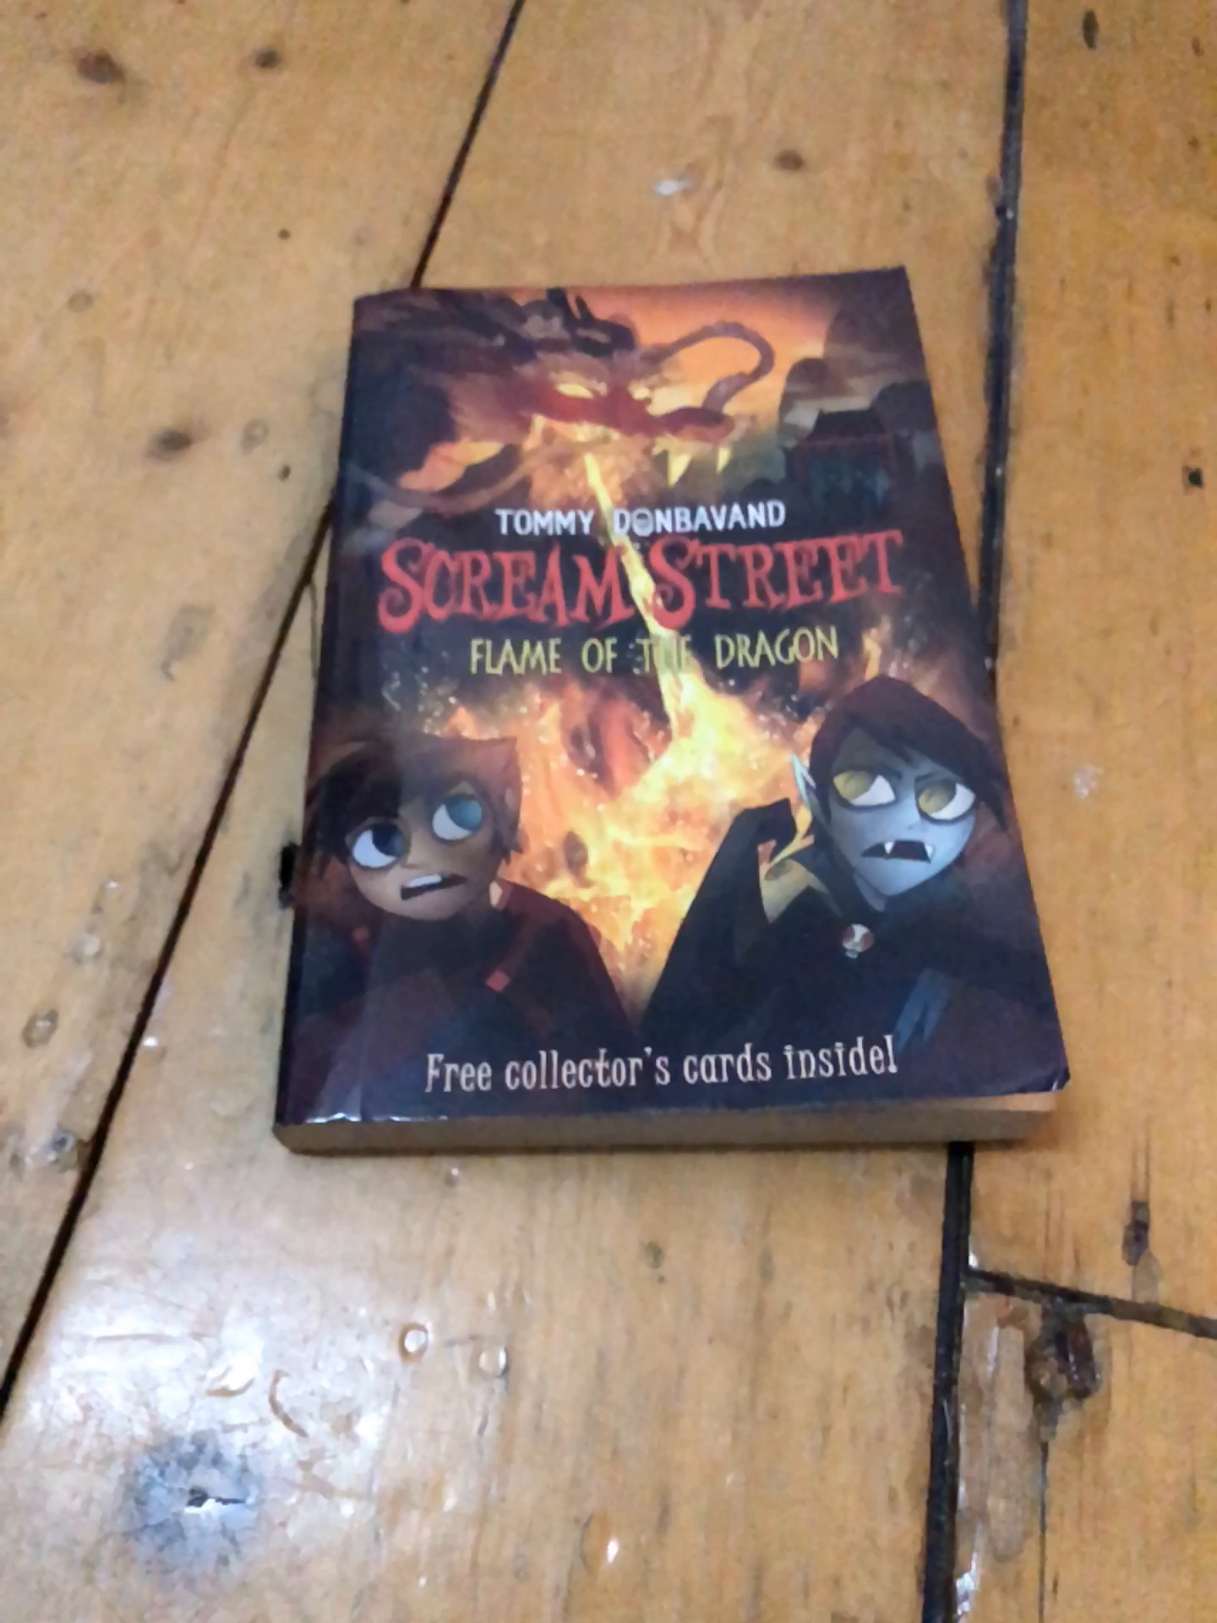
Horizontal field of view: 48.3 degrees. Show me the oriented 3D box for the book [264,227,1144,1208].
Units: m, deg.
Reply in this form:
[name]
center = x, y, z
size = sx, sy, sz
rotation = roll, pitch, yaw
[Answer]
[book]
center = 0.011, -0.031, 0.267
size = 0.130, 0.040, 0.201
rotation = -1, 61, -2
